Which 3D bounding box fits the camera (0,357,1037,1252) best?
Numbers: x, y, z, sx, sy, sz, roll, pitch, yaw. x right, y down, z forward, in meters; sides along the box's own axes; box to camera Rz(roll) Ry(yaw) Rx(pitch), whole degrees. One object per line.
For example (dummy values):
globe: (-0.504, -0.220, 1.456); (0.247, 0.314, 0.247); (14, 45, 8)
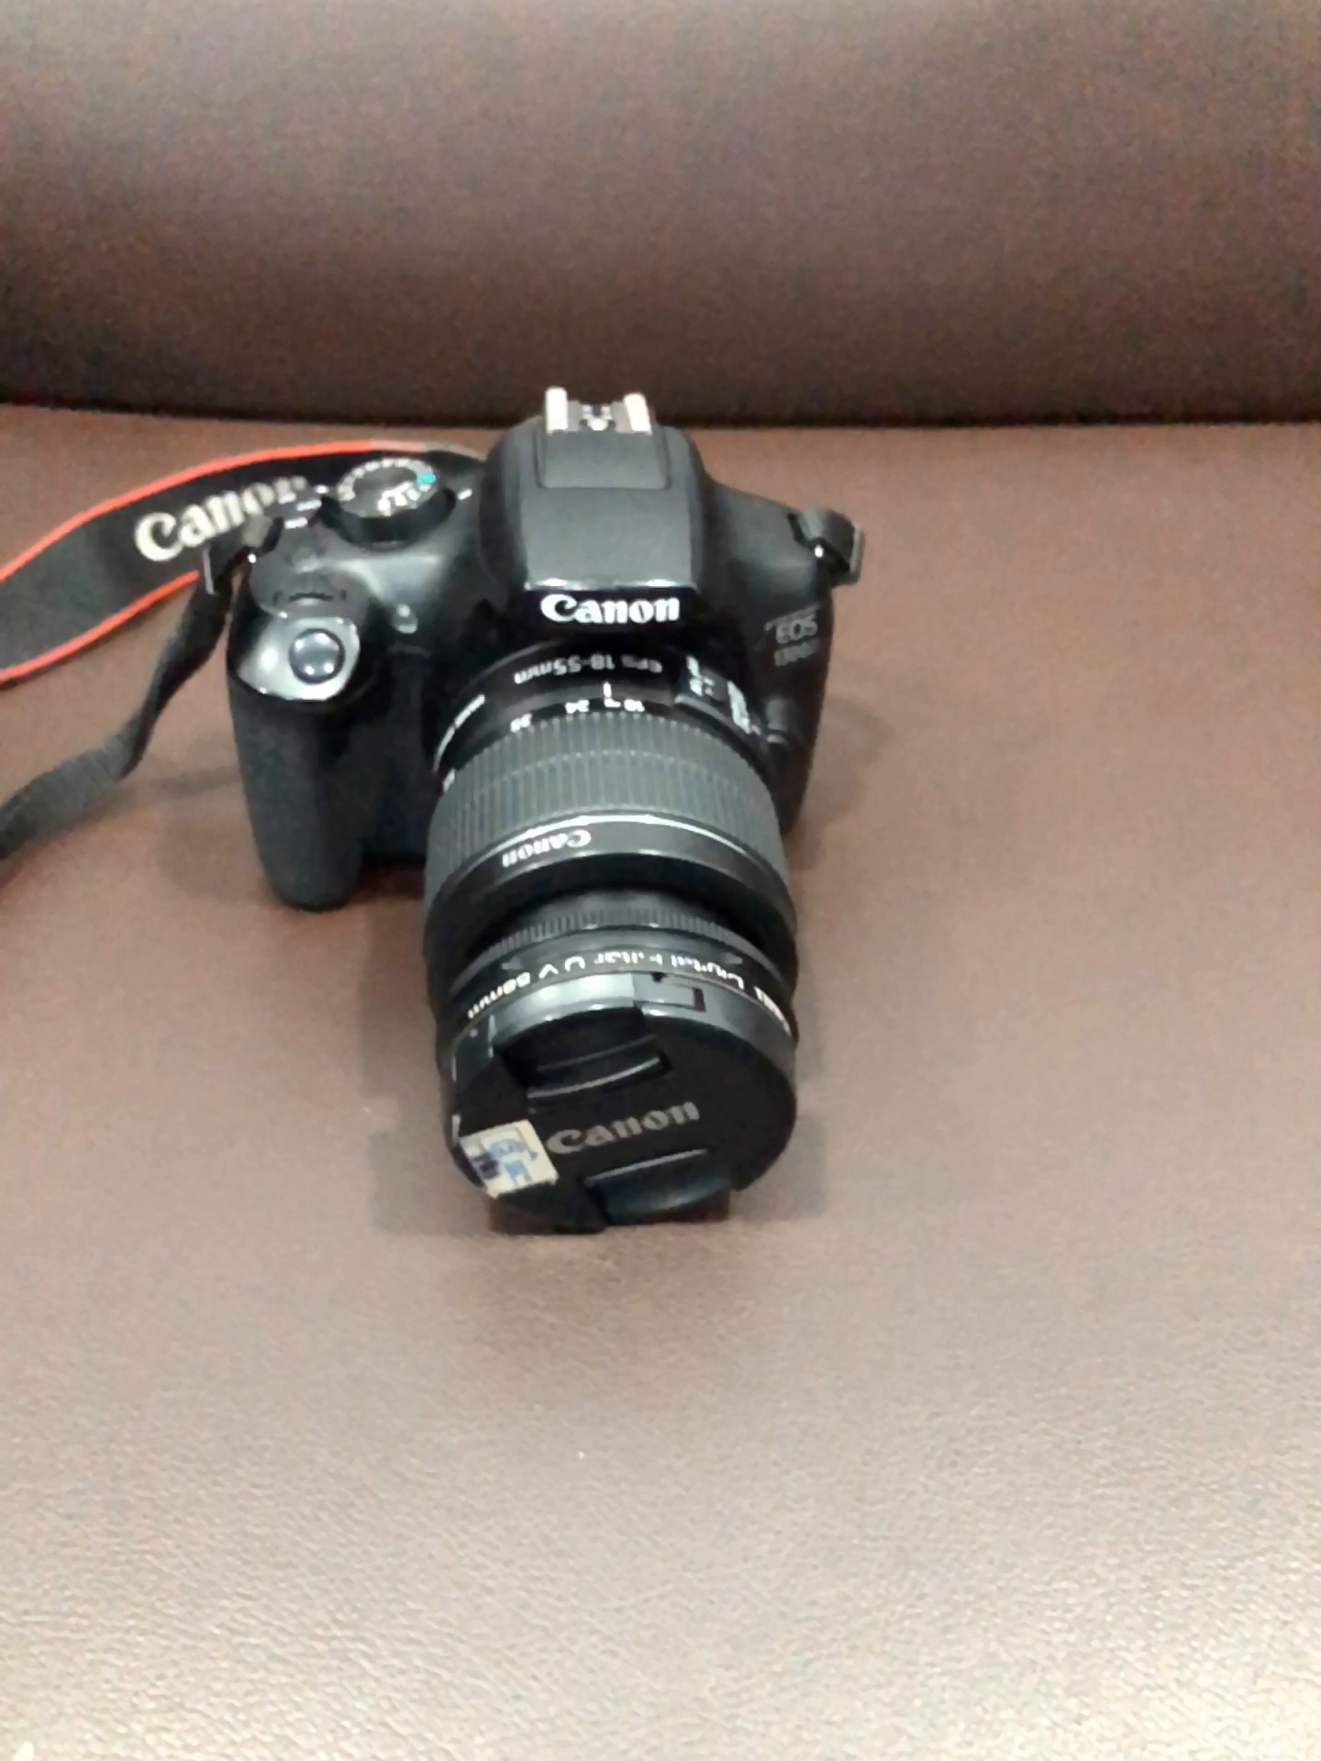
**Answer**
camera: (-0.022, -0.021, 0.266); (0.130, 0.089, 0.141); (0, 42, -3)
